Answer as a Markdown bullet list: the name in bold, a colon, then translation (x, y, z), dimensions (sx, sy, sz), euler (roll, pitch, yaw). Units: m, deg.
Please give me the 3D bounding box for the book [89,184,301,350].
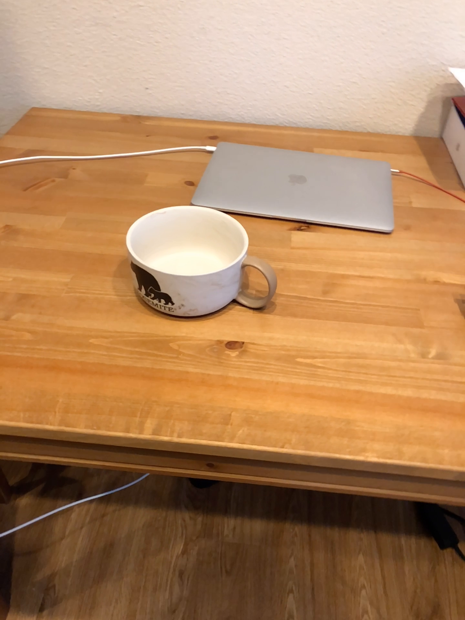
- **book**: translation (-0.039, -0.057, 0.587), dimensions (0.190, 0.080, 0.130), euler (20, 45, 19)
